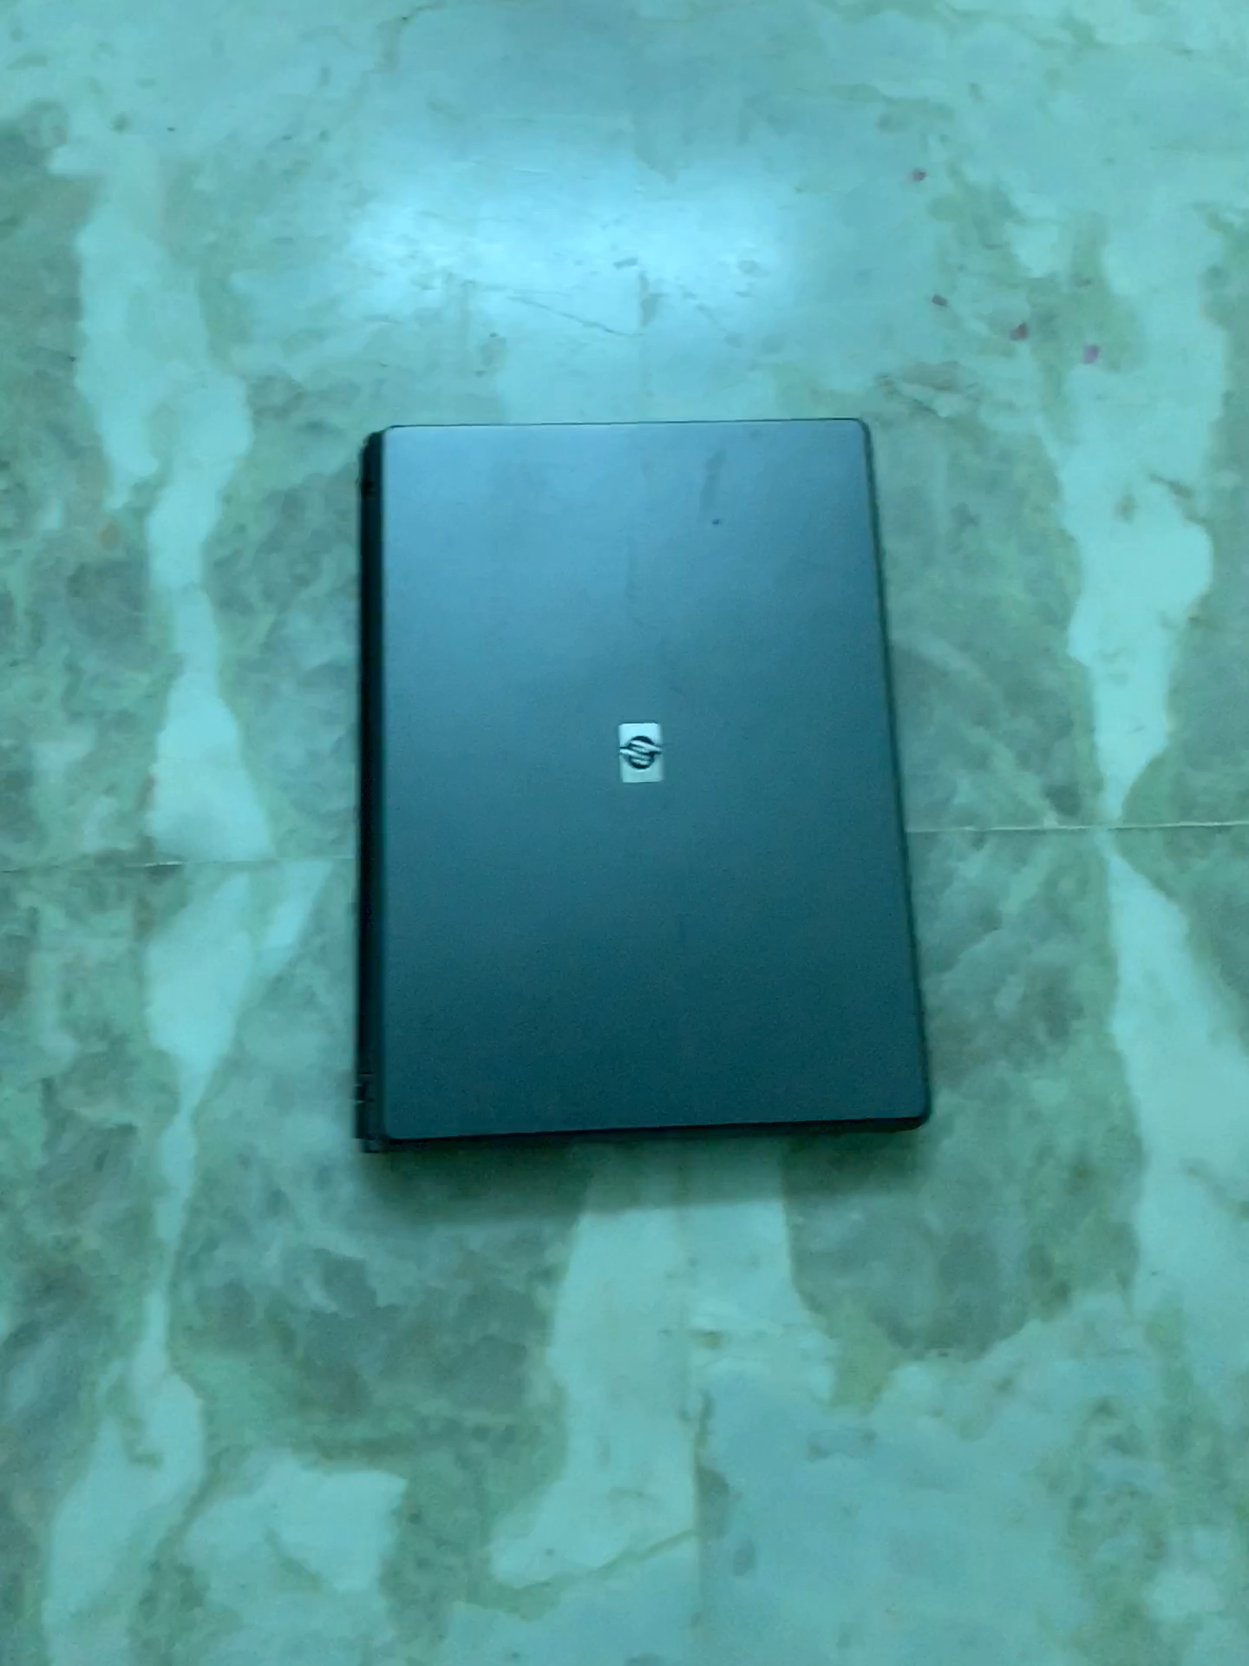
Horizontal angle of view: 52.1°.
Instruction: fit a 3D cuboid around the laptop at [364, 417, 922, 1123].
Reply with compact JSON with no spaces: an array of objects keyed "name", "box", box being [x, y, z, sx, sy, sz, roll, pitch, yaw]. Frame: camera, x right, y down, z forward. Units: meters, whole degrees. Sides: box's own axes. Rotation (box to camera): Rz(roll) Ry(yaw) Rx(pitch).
[{"name":"laptop","box":[0.001,-0.037,0.555,0.226,0.001,0.310,-2,77,-1]}]
